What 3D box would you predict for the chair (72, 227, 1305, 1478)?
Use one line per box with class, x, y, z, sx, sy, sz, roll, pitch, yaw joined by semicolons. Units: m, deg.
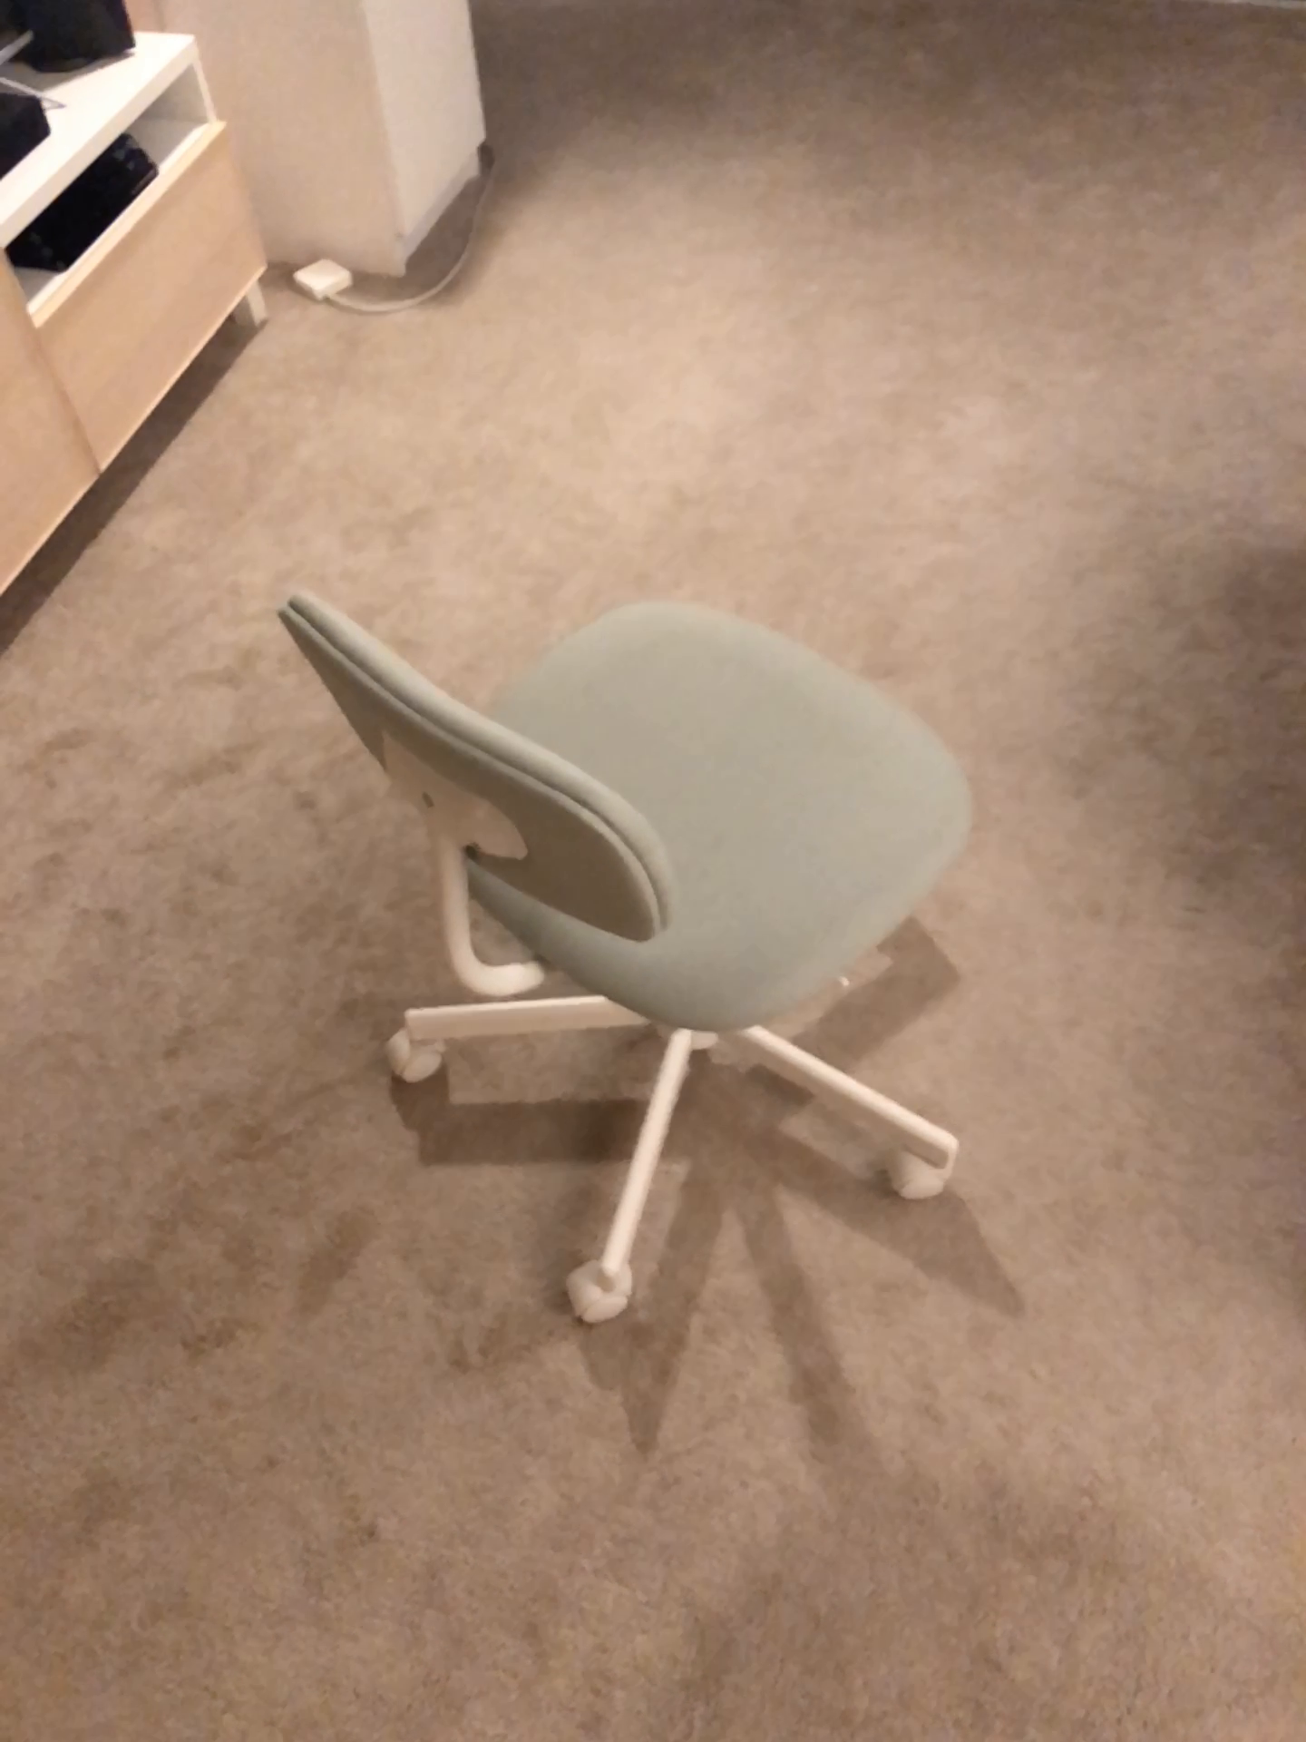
chair;0.039;-0.026;1.317;0.642;0.677;0.661;-38;59;-24
